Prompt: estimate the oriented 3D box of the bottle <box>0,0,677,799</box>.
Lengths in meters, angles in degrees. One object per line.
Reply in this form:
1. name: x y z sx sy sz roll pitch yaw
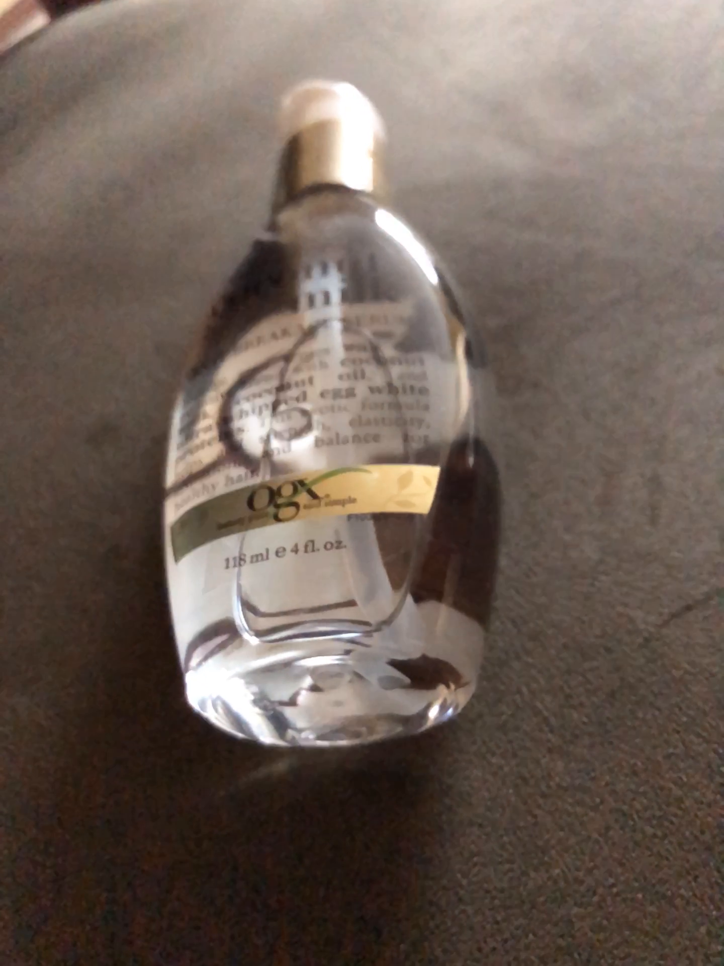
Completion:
1. bottle: -0.003 -0.038 0.152 0.070 0.040 0.170 -6 51 6
